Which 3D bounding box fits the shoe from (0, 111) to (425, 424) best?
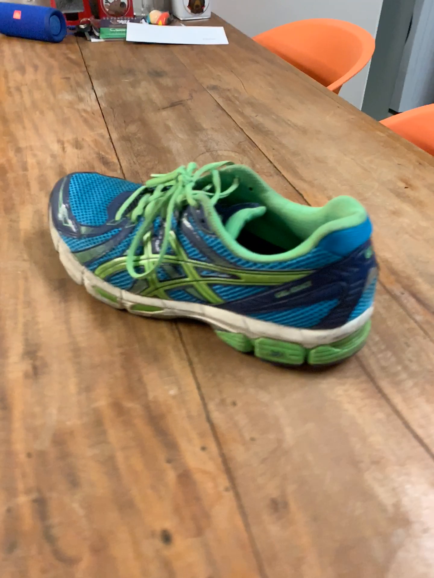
[{"bbox_3d":[-0.019,-0.036,0.357,0.301,0.119,0.110,23,48,24],"label":"shoe"}]
